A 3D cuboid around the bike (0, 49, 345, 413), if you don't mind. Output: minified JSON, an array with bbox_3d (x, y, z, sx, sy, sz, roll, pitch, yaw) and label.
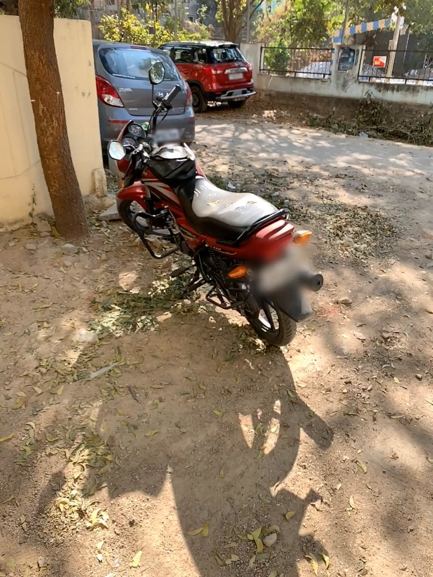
[{"bbox_3d":[-0.351,-0.467,2.349,0.777,1.179,1.646,-20,39,-34],"label":"bike"}]
